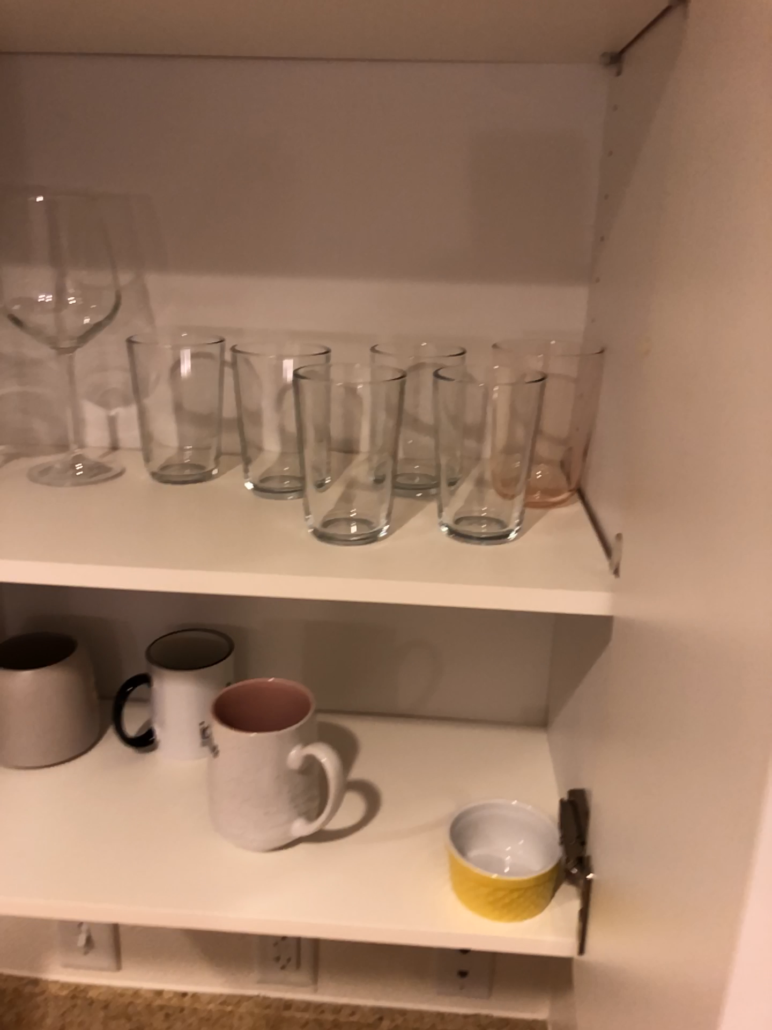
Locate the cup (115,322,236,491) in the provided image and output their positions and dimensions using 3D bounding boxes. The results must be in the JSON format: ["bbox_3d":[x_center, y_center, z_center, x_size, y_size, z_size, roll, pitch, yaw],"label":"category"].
[{"bbox_3d":[-0.180,-0.097,0.744,0.080,0.129,0.090,1,19,-2],"label":"cup"}]

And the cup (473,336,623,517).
[{"bbox_3d":[0.121,-0.073,0.667,0.090,0.119,0.100,2,19,0],"label":"cup"}]

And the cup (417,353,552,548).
[{"bbox_3d":[0.066,-0.048,0.604,0.080,0.119,0.080,1,19,0],"label":"cup"}]

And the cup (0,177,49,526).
[{"bbox_3d":[-0.346,-0.125,0.661,0.110,0.249,0.090,1,18,-2],"label":"cup"}]

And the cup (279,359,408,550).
[{"bbox_3d":[-0.029,-0.044,0.585,0.080,0.109,0.090,1,19,-2],"label":"cup"}]

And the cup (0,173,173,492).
[{"bbox_3d":[-0.259,-0.158,0.748,0.110,0.259,0.090,1,18,-2],"label":"cup"}]

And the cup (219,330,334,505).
[{"bbox_3d":[-0.084,-0.080,0.677,0.080,0.119,0.090,1,19,-2],"label":"cup"}]

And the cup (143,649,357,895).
[{"bbox_3d":[-0.106,0.192,0.663,0.140,0.109,0.090,16,24,37],"label":"cup"}]

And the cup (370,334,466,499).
[{"bbox_3d":[0.023,-0.083,0.700,0.070,0.119,0.080,1,19,-2],"label":"cup"}]

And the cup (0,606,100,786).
[{"bbox_3d":[-0.331,0.162,0.793,0.110,0.090,0.141,-5,20,-19],"label":"cup"}]

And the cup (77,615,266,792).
[{"bbox_3d":[-0.197,0.169,0.794,0.140,0.090,0.090,-17,26,-42],"label":"cup"}]
